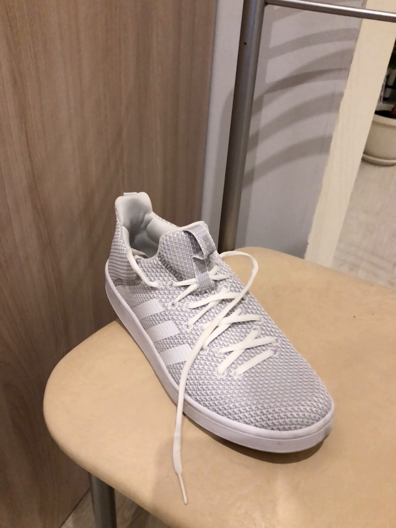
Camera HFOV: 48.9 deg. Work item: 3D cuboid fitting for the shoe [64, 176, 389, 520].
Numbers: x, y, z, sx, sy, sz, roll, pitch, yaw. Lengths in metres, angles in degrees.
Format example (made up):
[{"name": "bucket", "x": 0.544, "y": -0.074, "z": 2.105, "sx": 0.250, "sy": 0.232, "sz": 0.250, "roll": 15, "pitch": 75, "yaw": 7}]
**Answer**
[{"name": "shoe", "x": -0.005, "y": 0.043, "z": 0.406, "sx": 0.110, "sy": 0.129, "sz": 0.301, "roll": -20, "pitch": 41, "yaw": -31}]
